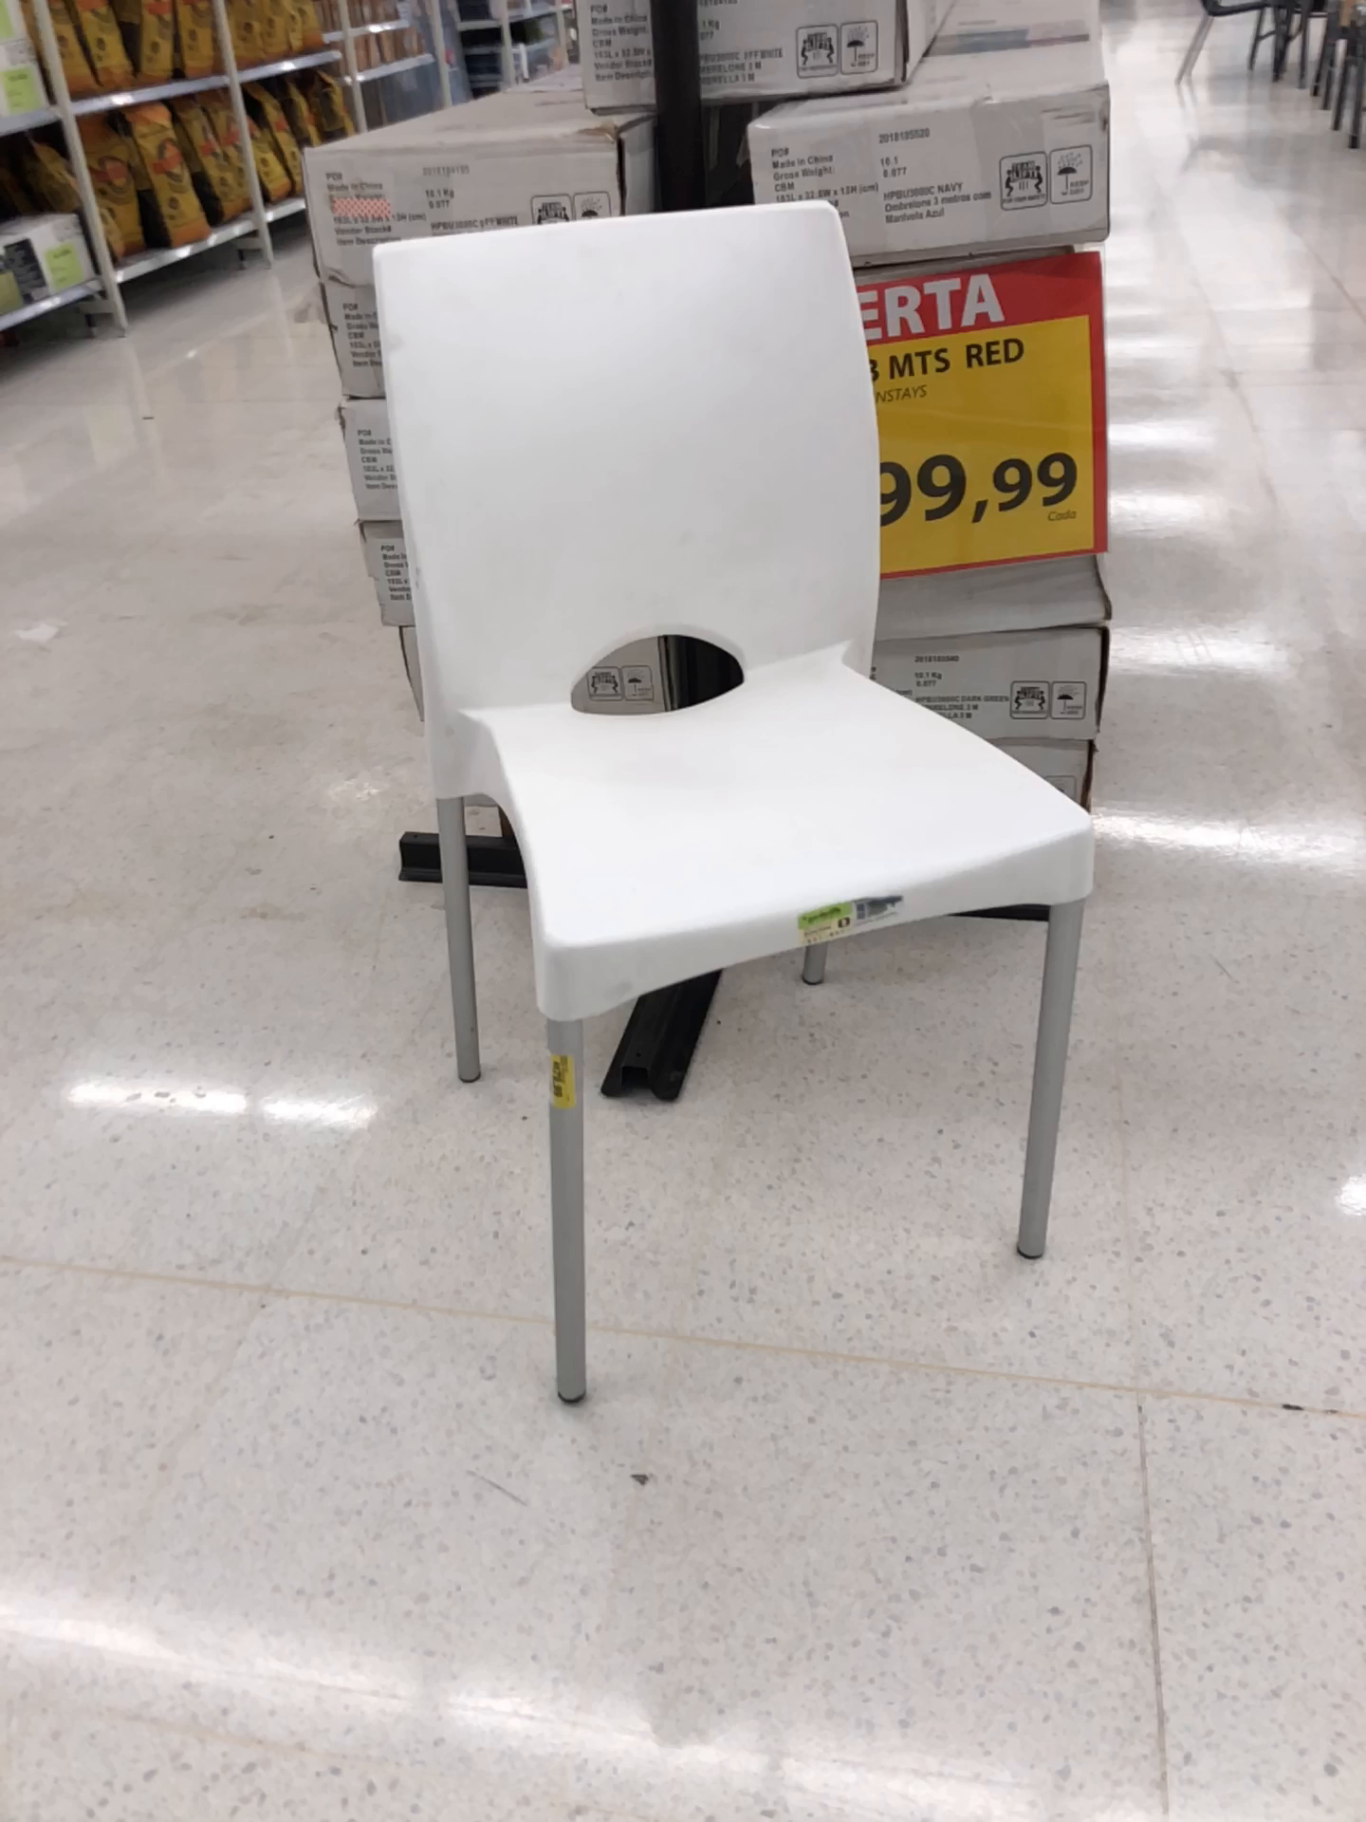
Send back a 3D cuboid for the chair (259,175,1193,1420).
[{"bbox_3d":[0.003,-0.126,1.256,0.500,0.794,0.564,-13,33,-13],"label":"chair"}]
